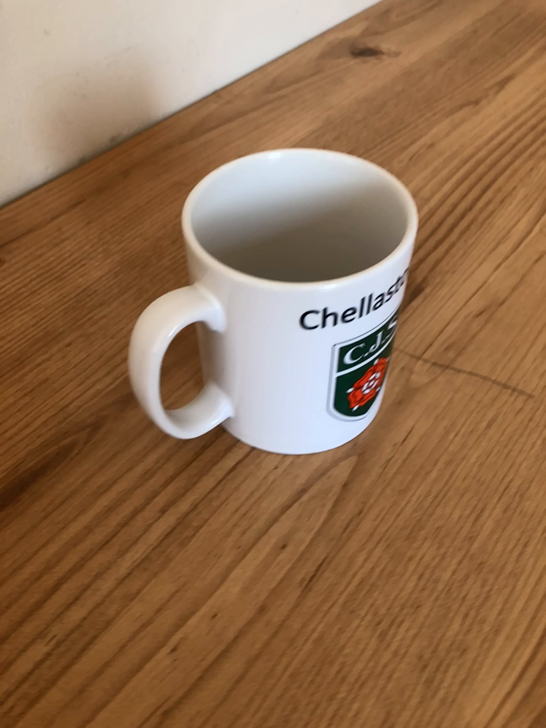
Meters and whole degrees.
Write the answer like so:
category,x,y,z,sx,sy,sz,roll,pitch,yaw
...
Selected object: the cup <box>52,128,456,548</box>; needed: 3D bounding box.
category,x,y,z,sx,sy,sz,roll,pitch,yaw
cup,-0.002,-0.014,0.242,0.110,0.095,0.084,-39,55,-25
